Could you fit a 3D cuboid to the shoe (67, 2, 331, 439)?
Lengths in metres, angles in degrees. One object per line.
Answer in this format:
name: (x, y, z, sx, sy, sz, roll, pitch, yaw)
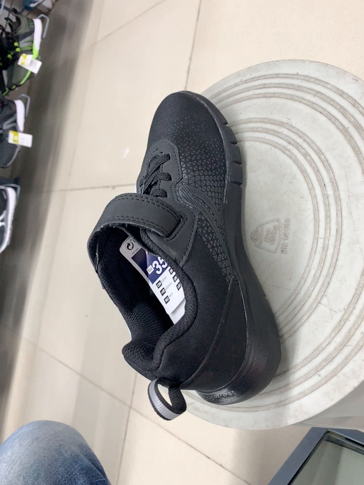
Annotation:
shoe: (-0.008, -0.019, 0.252, 0.101, 0.080, 0.250, -32, 59, 37)
